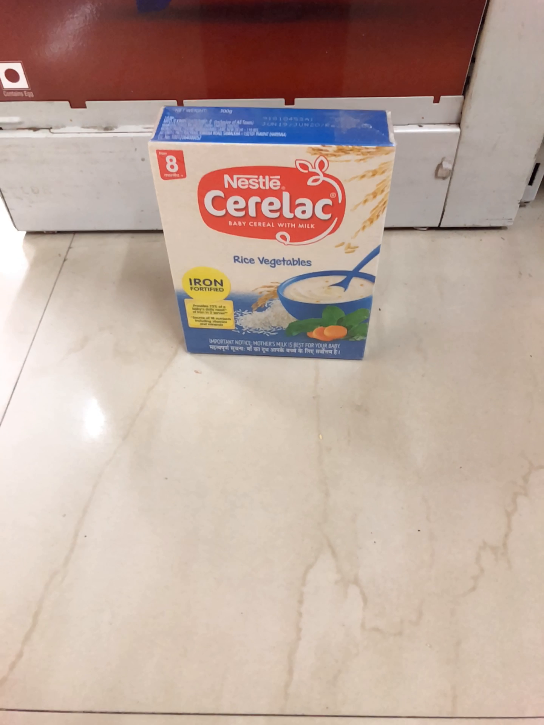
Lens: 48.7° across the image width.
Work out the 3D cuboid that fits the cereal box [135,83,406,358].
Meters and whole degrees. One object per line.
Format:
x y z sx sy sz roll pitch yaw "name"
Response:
0.001 -0.094 0.449 0.160 0.199 0.060 1 49 2 "cereal box"
